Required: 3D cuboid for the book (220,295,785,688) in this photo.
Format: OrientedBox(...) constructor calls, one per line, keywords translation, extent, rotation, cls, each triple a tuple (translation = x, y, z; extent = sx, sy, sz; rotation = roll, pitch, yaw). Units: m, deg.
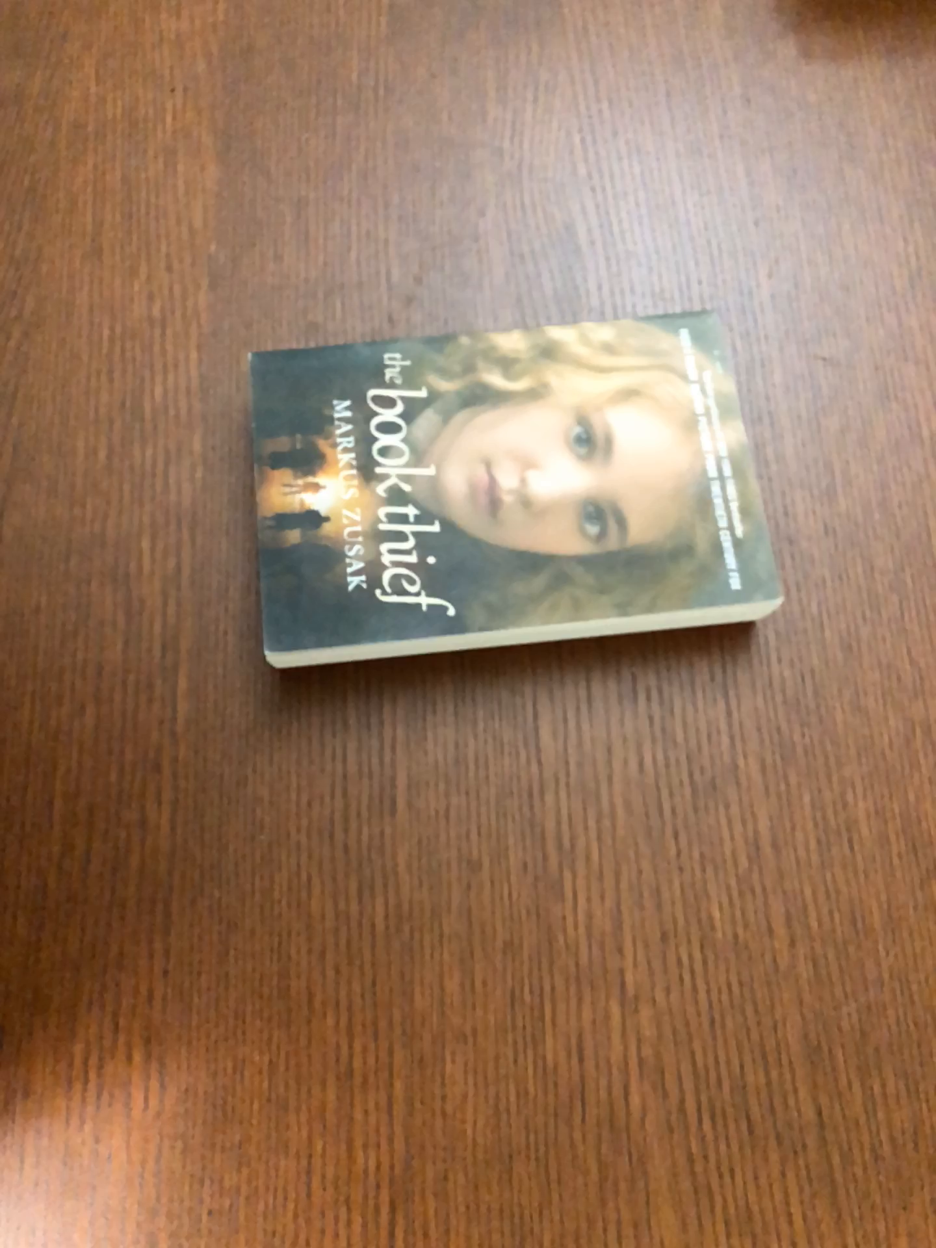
OrientedBox(translation=(0.008, -0.059, 0.447), extent=(0.220, 0.030, 0.150), rotation=(-5, 71, -1), cls="book")
